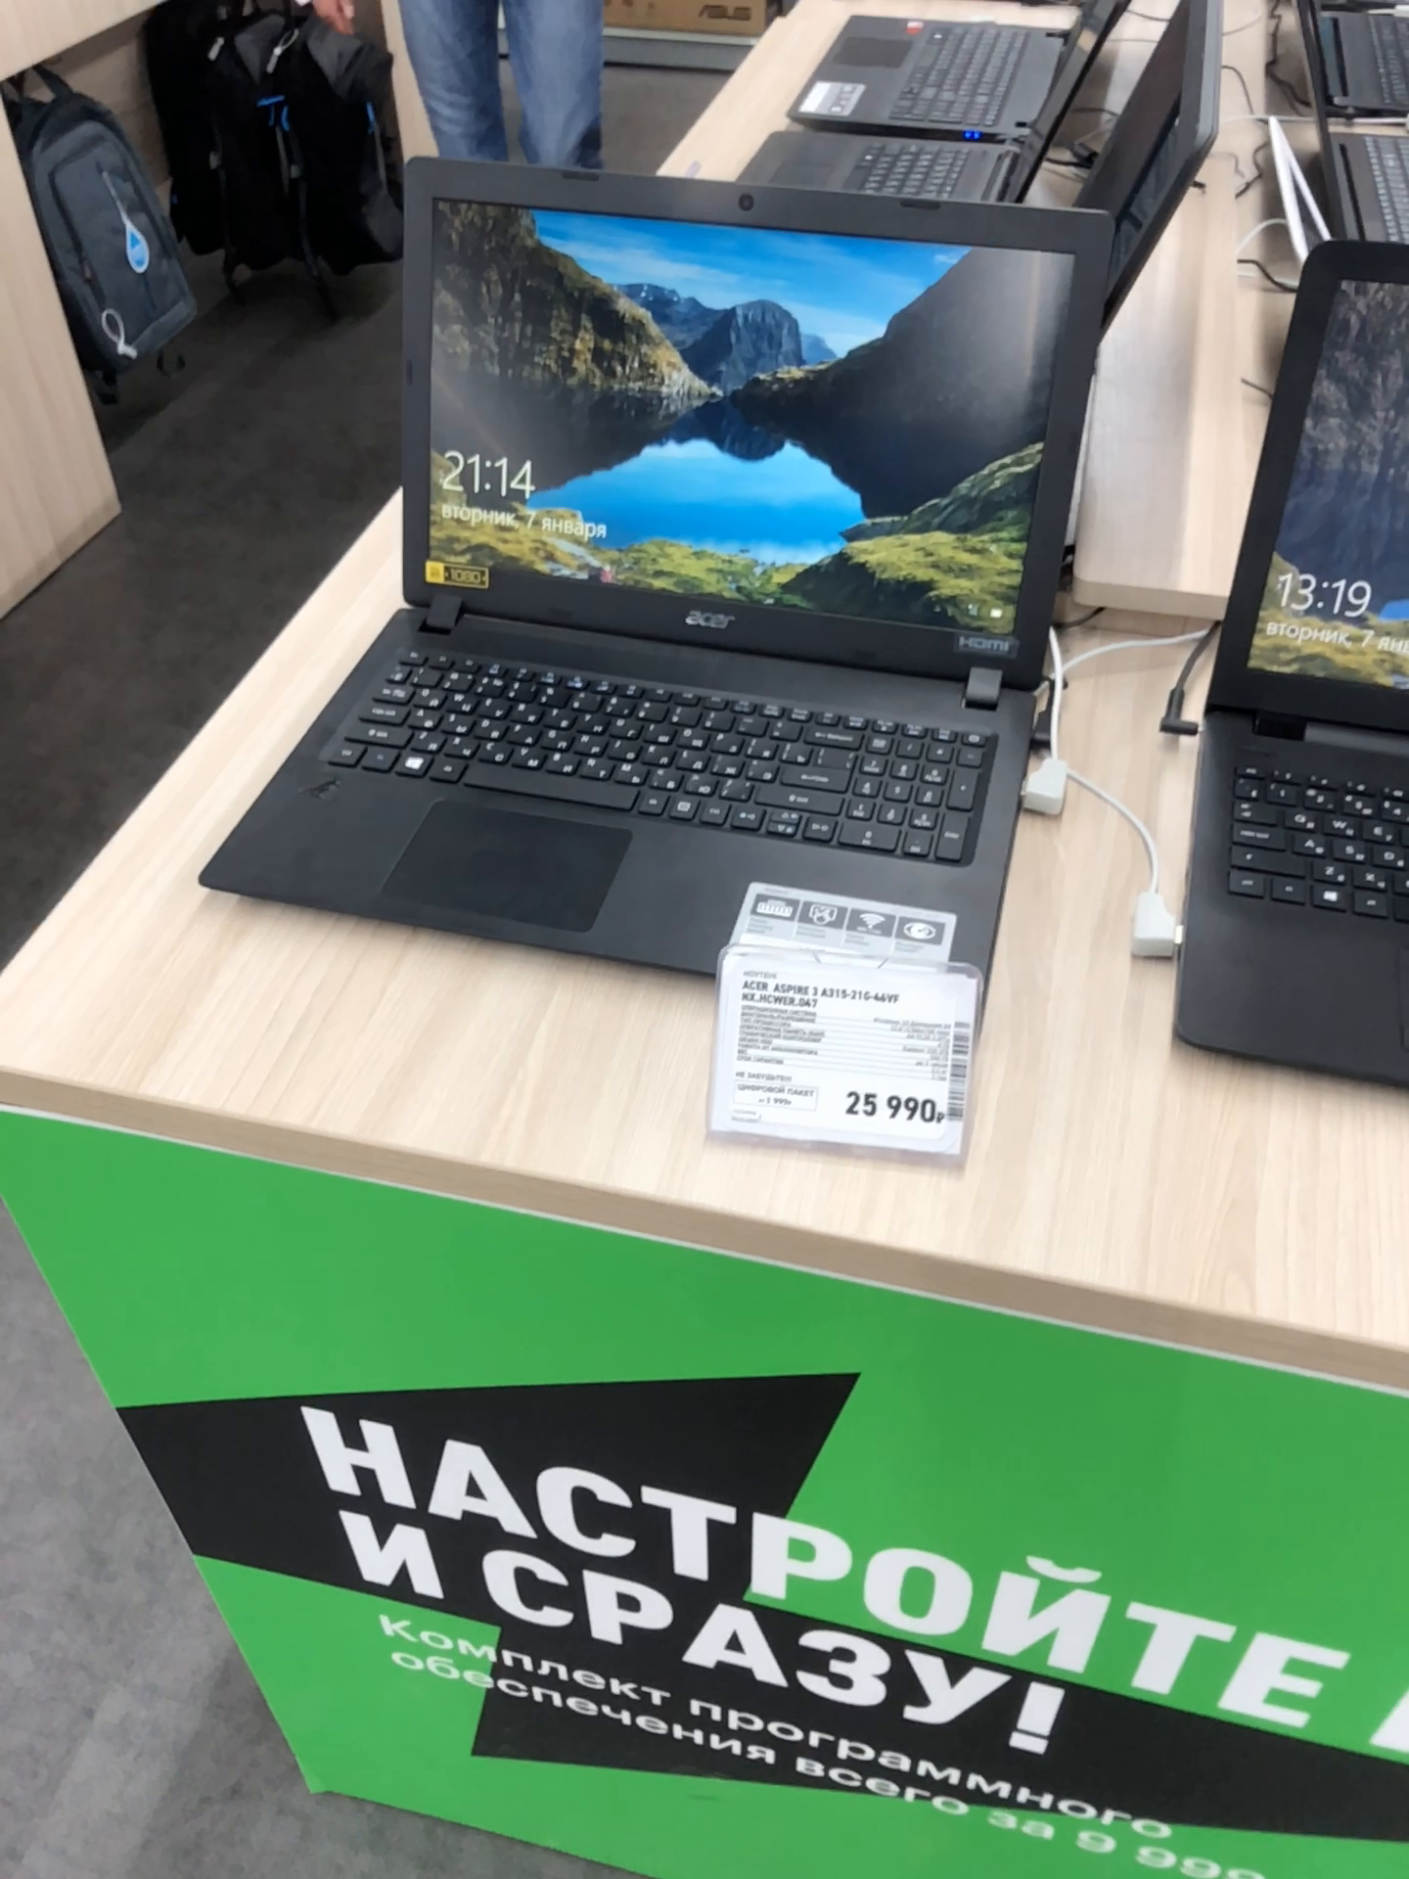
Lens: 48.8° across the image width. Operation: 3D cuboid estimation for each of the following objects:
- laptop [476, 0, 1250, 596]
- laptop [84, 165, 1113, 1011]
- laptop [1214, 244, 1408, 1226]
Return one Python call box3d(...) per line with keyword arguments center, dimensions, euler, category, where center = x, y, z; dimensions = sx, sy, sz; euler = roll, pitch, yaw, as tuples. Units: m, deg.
box3d(center=(0.116, -0.456, 1.010), dimensions=(0.395, 0.250, 0.403), euler=(8, 45, 12), category="laptop")
box3d(center=(-0.019, -0.197, 0.769), dimensions=(0.374, 0.219, 0.349), euler=(10, 45, 11), category="laptop")
box3d(center=(0.429, -0.108, 0.662), dimensions=(0.358, 0.220, 0.296), euler=(10, 46, 12), category="laptop")
